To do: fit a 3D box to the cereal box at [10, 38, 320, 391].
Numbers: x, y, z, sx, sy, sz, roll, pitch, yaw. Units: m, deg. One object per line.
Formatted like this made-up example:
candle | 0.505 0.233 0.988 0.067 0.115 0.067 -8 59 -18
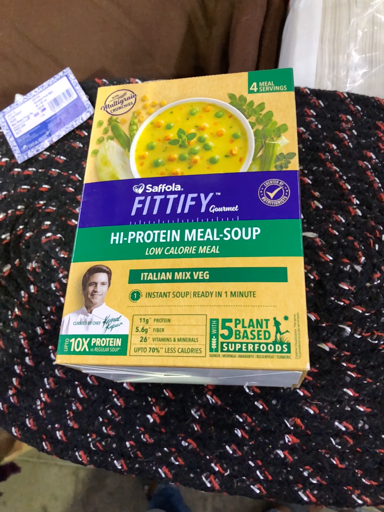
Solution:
cereal box | -0.003 -0.019 0.241 0.130 0.080 0.170 -1 68 11
